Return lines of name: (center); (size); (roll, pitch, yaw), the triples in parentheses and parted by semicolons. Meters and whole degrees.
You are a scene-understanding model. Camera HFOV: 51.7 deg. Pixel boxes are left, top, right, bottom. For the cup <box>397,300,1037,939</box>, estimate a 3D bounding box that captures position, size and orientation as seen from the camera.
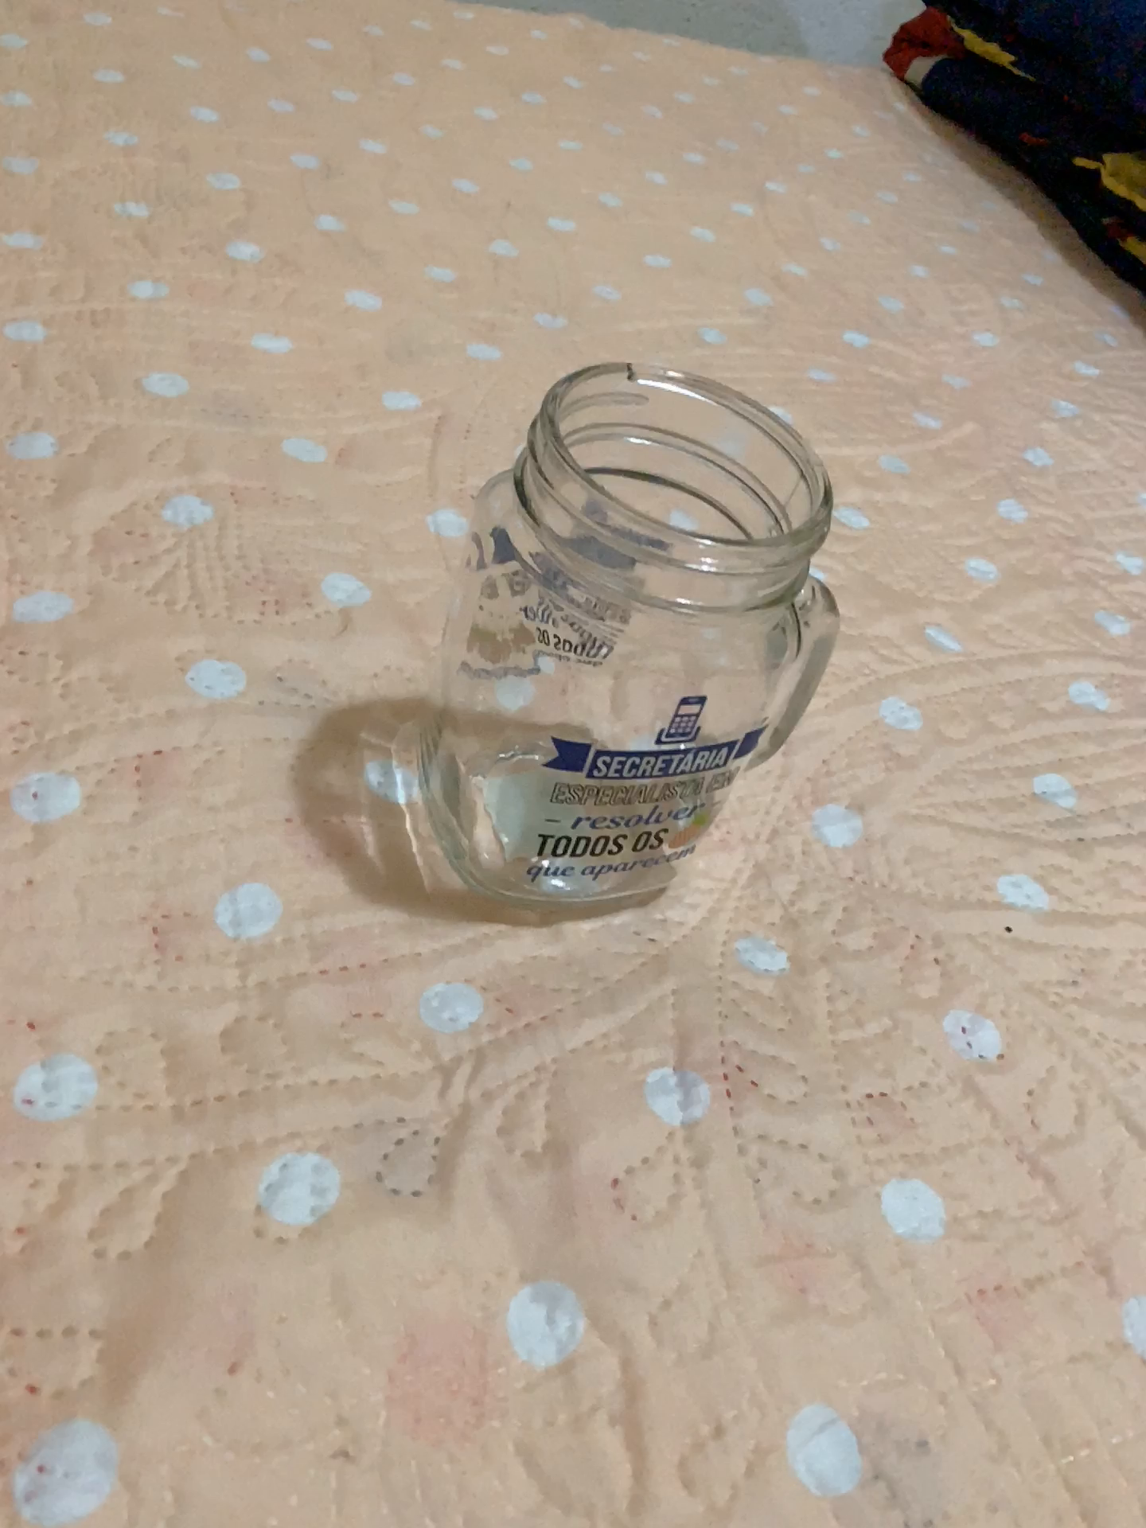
cup: (0.021, -0.029, 0.284); (0.100, 0.119, 0.080); (0, 46, -20)
